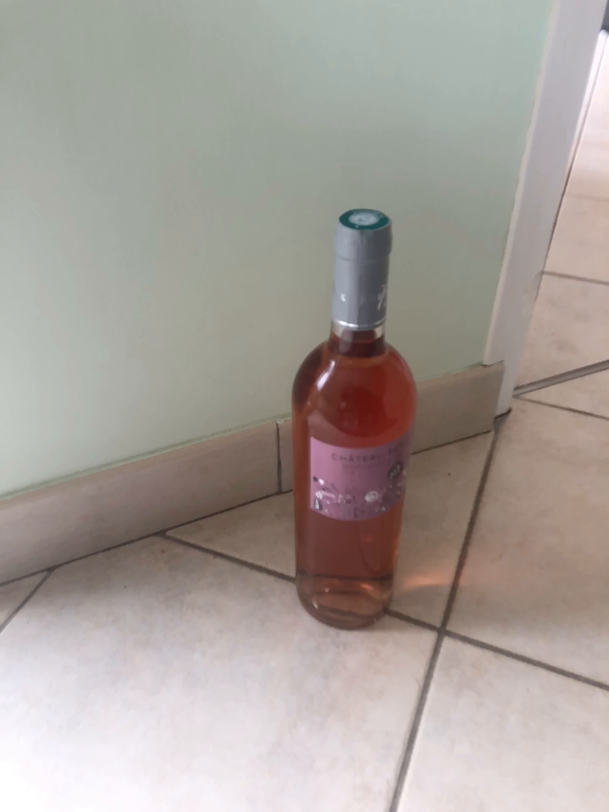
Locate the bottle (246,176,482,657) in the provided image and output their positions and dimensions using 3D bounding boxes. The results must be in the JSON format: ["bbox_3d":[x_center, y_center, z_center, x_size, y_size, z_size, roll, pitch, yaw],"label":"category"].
[{"bbox_3d":[0.032,0.022,0.415,0.090,0.288,0.091,0,38,0],"label":"bottle"}]
